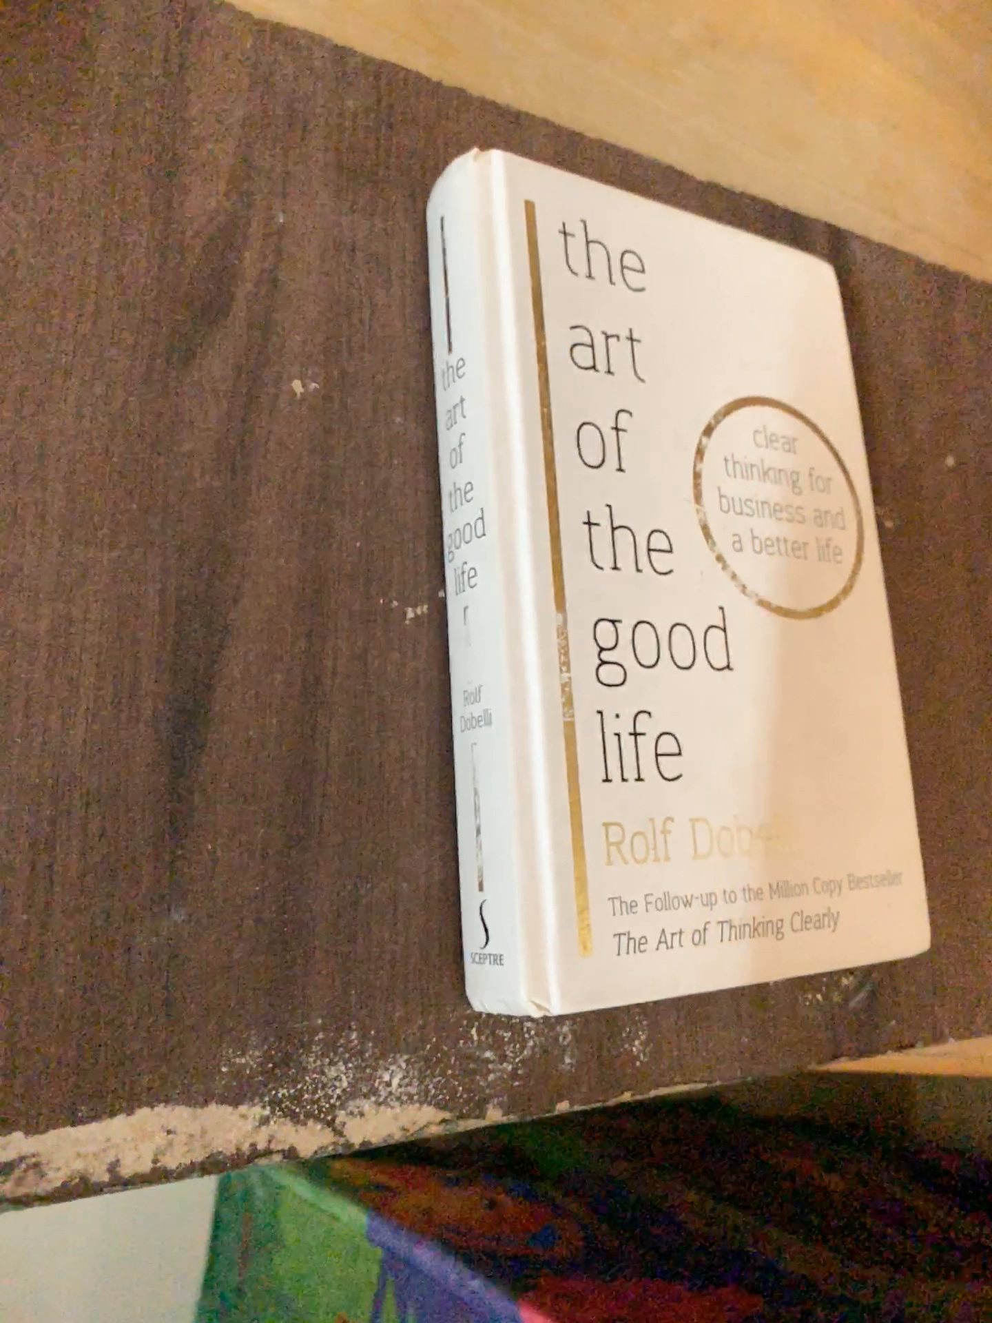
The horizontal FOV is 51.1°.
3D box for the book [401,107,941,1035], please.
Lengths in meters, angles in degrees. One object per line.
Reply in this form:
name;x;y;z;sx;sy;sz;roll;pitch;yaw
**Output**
book;0.041;-0.018;0.241;0.118;0.037;0.180;3;80;-30
